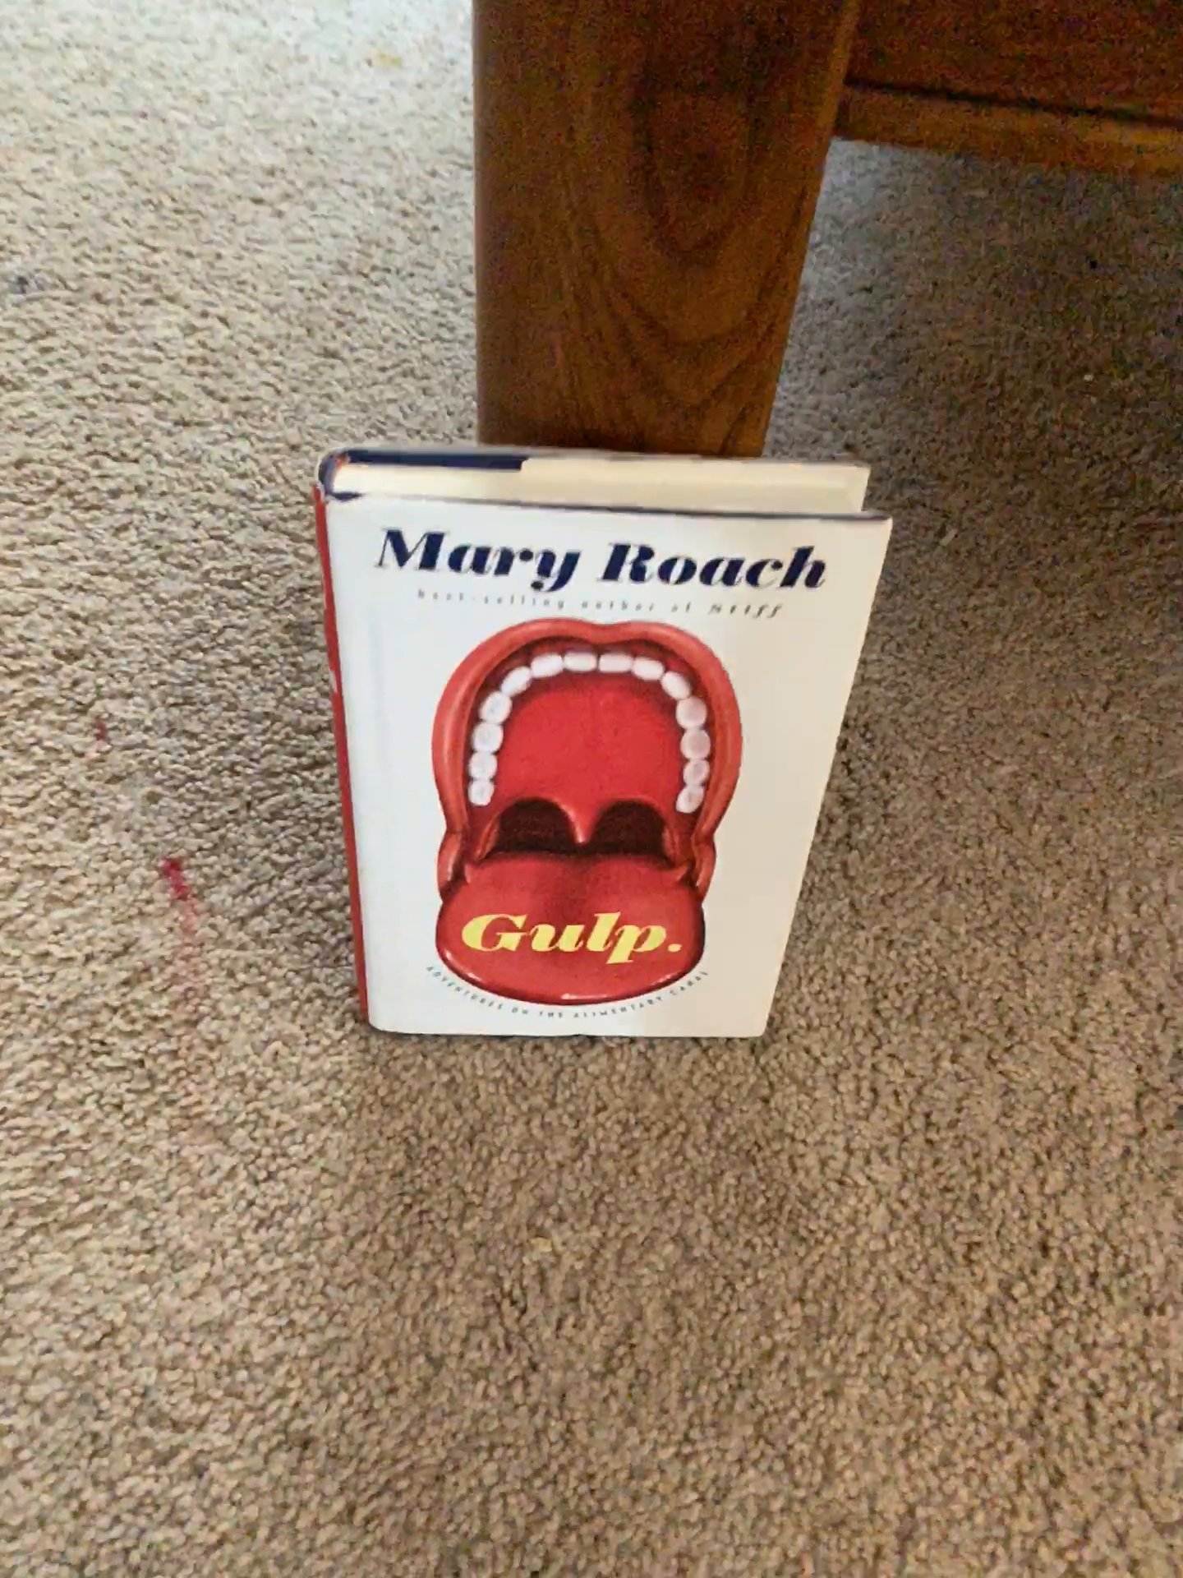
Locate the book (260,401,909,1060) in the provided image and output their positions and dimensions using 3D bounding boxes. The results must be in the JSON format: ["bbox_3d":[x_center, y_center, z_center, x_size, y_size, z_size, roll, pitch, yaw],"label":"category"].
[{"bbox_3d":[-0.008,-0.002,0.389,0.160,0.229,0.040,2,41,-3],"label":"book"}]
